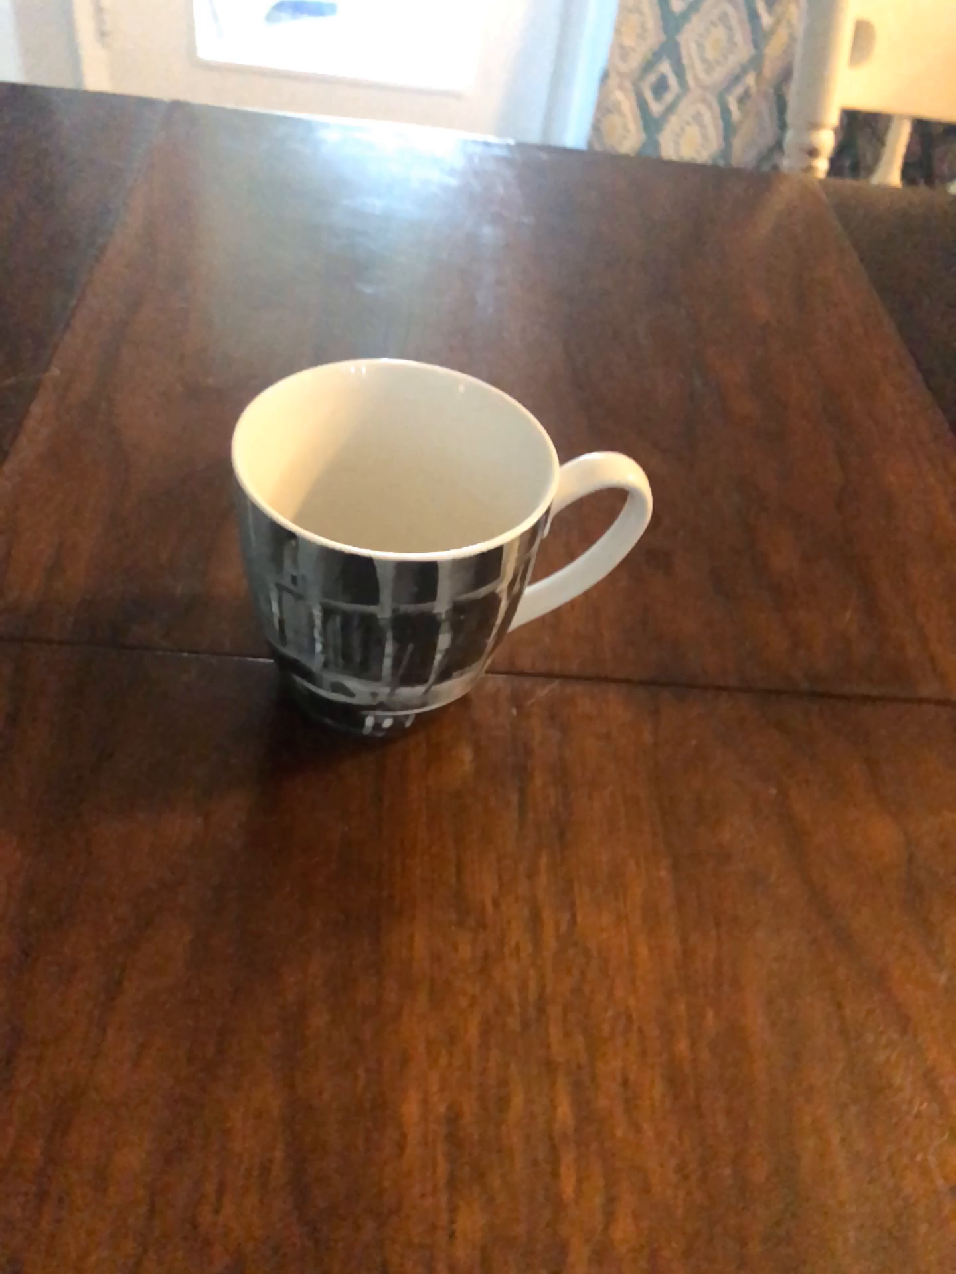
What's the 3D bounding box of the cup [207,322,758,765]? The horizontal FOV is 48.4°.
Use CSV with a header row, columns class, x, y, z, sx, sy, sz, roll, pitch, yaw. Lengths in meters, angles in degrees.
class,x,y,z,sx,sy,sz,roll,pitch,yaw
cup,-0.006,-0.035,0.344,0.140,0.080,0.100,-9,49,-18
